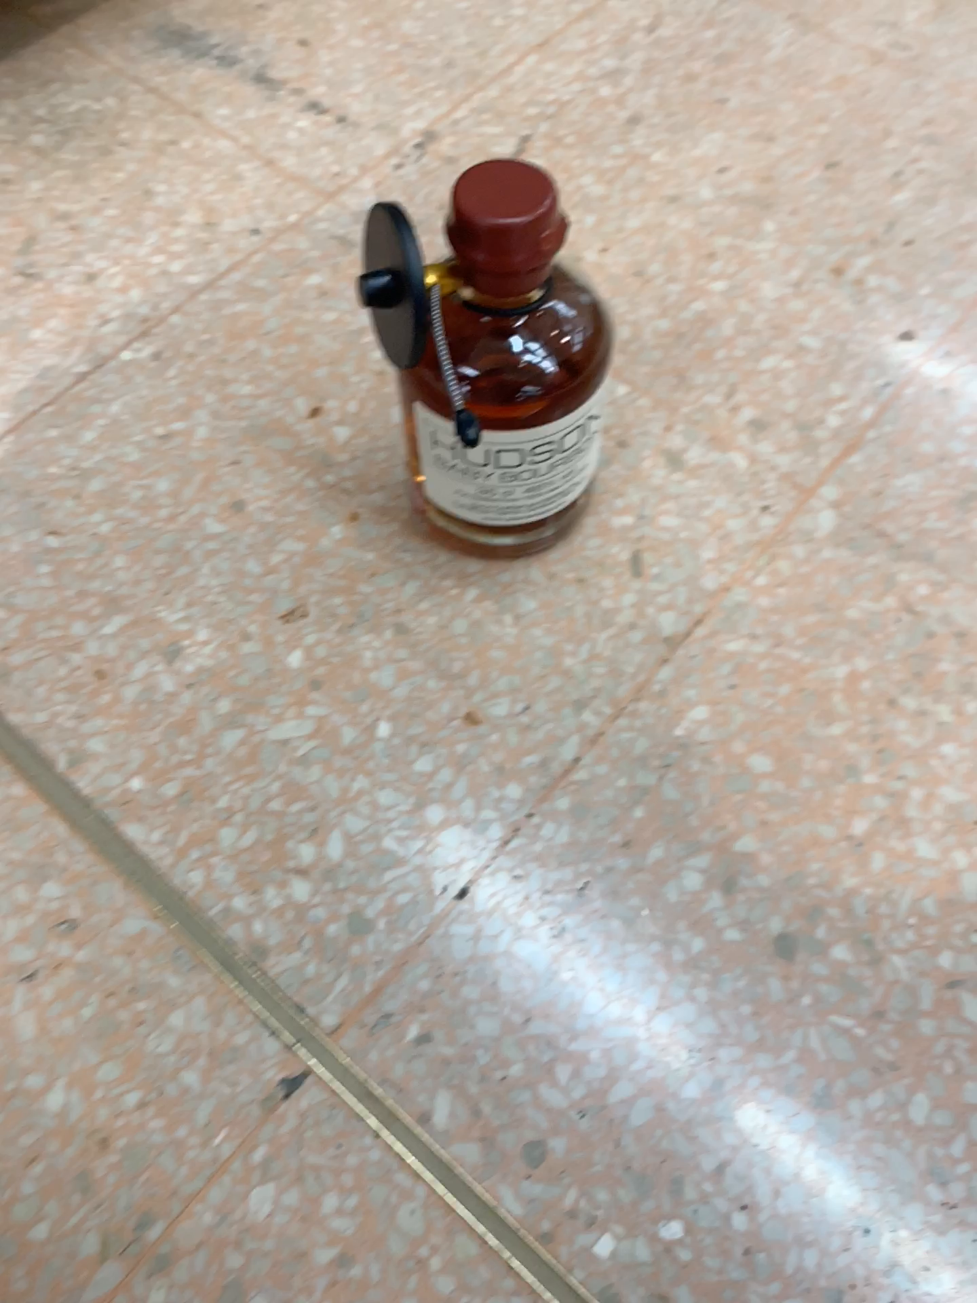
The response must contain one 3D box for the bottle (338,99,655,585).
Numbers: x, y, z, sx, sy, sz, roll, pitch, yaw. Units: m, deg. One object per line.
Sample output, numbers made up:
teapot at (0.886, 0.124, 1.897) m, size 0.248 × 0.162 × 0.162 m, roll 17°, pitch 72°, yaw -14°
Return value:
bottle at (0.001, -0.100, 0.360) m, size 0.075 × 0.142 × 0.073 m, roll 0°, pitch 62°, yaw 1°
